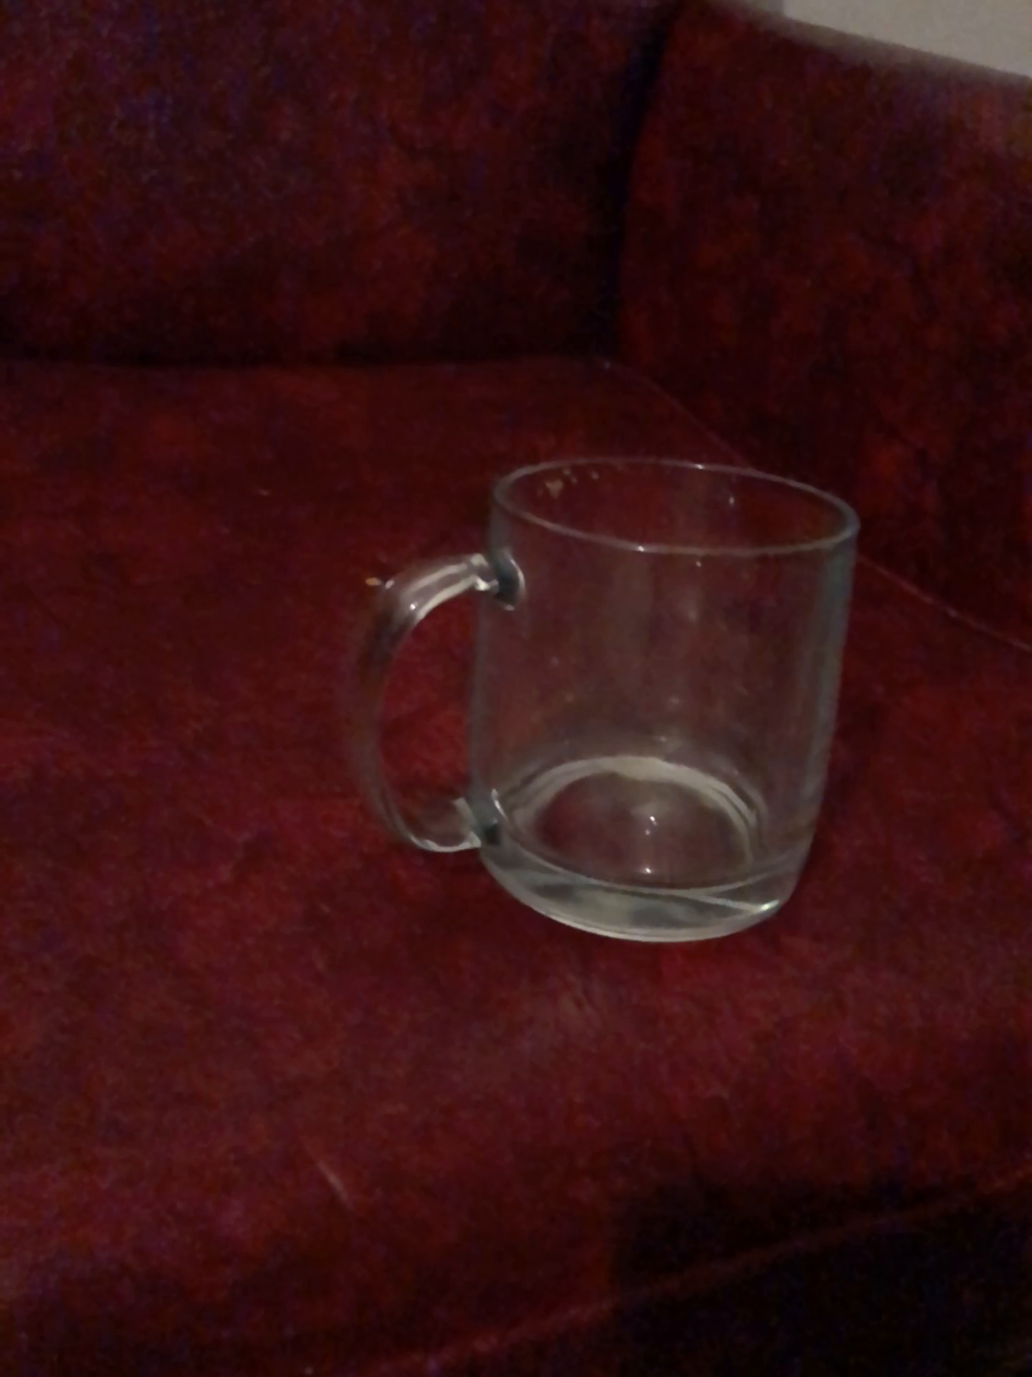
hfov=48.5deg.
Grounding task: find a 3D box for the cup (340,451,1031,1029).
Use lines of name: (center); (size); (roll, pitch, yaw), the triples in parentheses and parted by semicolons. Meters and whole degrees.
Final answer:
cup: (0.034, 0.001, 0.271); (0.128, 0.089, 0.090); (-7, 26, -25)
